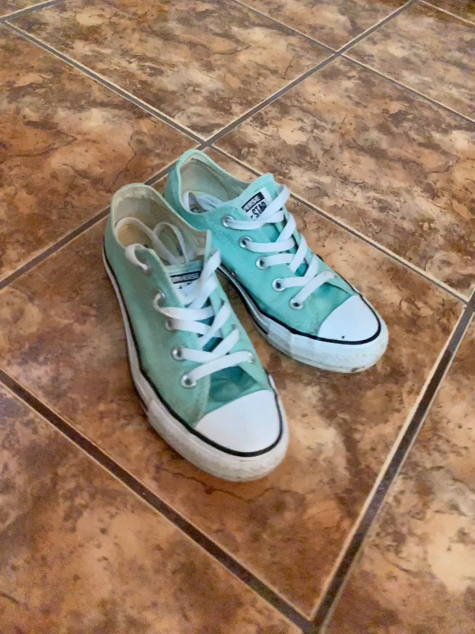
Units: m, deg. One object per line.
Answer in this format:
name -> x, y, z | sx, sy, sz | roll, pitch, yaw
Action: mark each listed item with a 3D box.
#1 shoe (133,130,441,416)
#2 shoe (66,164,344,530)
shoe -> 0.028, -0.046, 0.413 | 0.244, 0.084, 0.095 | 40, 56, 18
shoe -> -0.041, 0.007, 0.360 | 0.098, 0.094, 0.244 | -16, 58, -23
